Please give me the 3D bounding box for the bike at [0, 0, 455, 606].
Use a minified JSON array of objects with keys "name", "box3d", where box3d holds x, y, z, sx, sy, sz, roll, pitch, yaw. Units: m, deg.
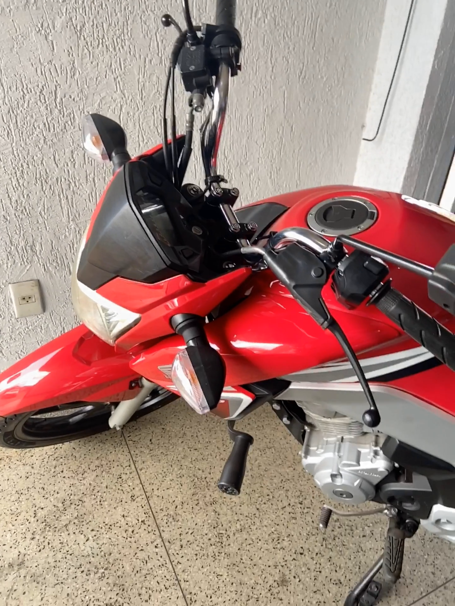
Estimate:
[{"name":"bike","box3d":[0.323,0.298,0.874,1.989,1.421,0.873,6,30,9]}]
